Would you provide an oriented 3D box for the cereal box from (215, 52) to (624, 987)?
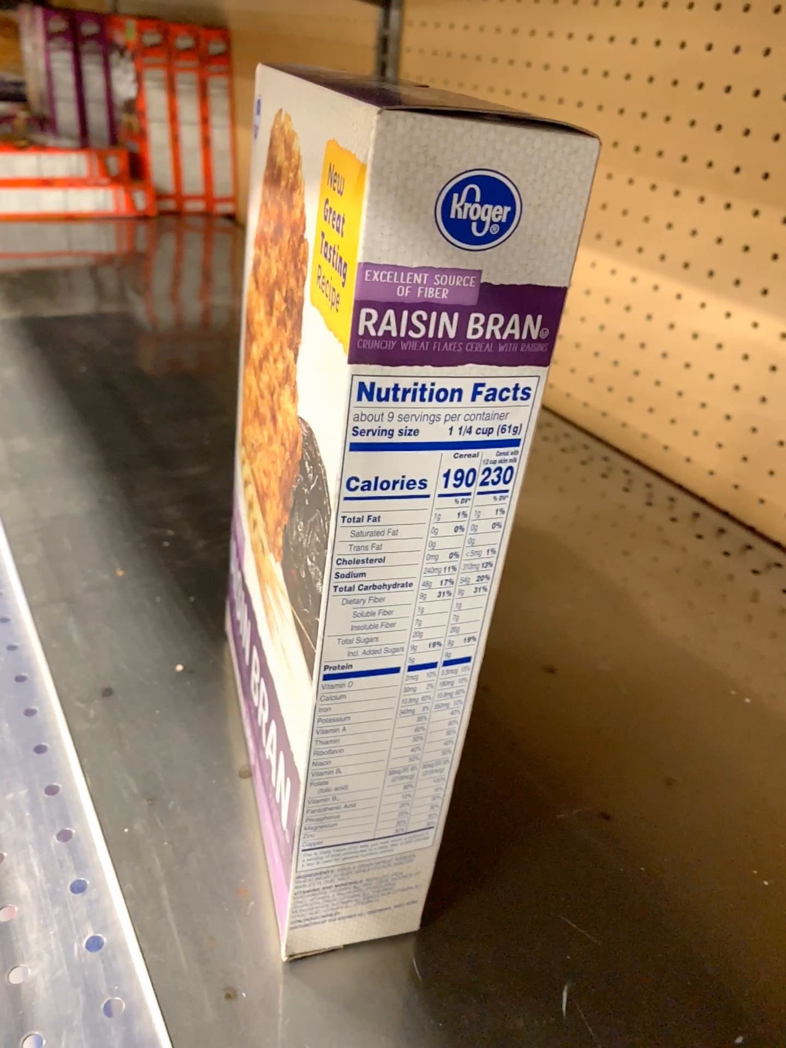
[{"bbox_3d":[-0.024,-0.009,0.297,0.050,0.269,0.191,-2,31,-19],"label":"cereal box"}]
